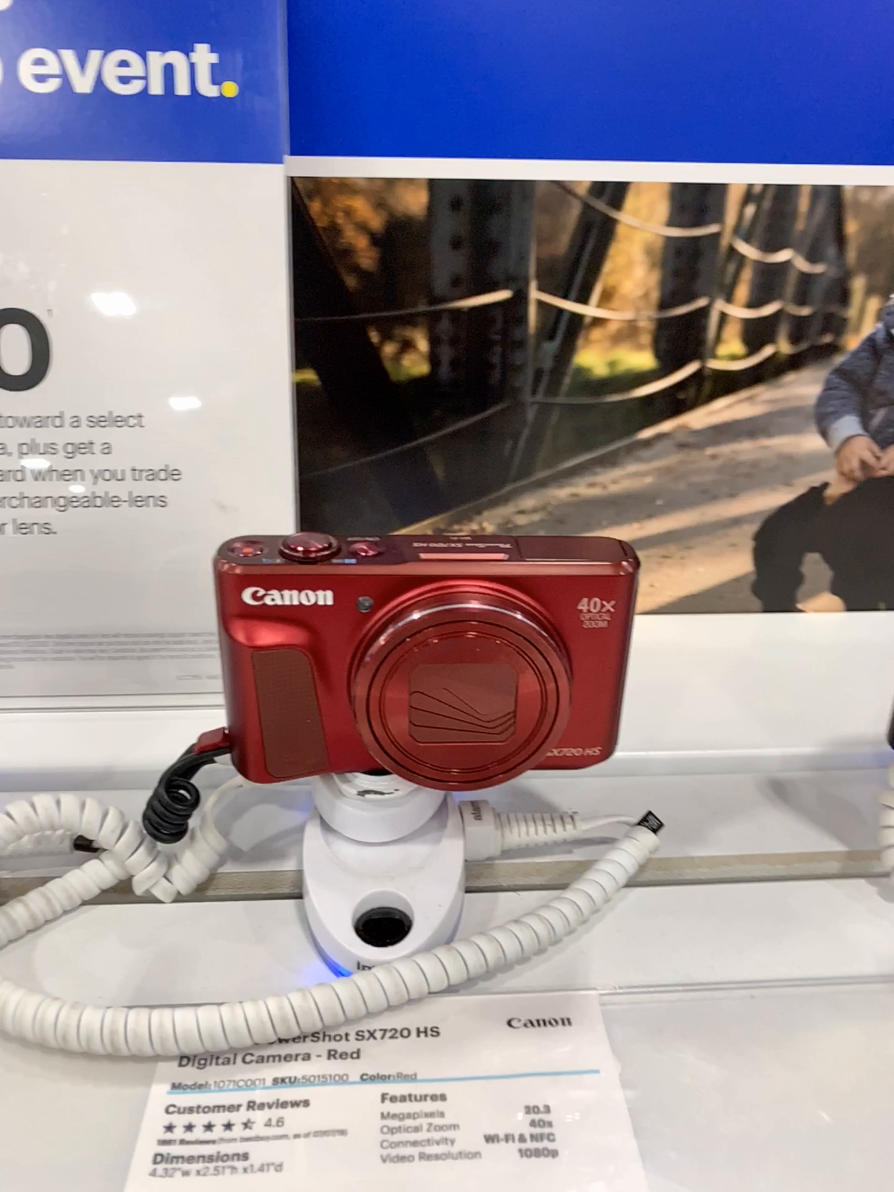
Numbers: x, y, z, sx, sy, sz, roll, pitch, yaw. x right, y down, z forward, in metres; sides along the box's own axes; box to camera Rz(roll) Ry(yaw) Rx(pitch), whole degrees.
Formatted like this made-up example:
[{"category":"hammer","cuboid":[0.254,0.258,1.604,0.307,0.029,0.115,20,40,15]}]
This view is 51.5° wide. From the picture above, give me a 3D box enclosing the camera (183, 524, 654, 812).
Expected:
[{"category":"camera","cuboid":[-0.007,0.019,0.245,0.110,0.070,0.030,0,26,-1]}]
